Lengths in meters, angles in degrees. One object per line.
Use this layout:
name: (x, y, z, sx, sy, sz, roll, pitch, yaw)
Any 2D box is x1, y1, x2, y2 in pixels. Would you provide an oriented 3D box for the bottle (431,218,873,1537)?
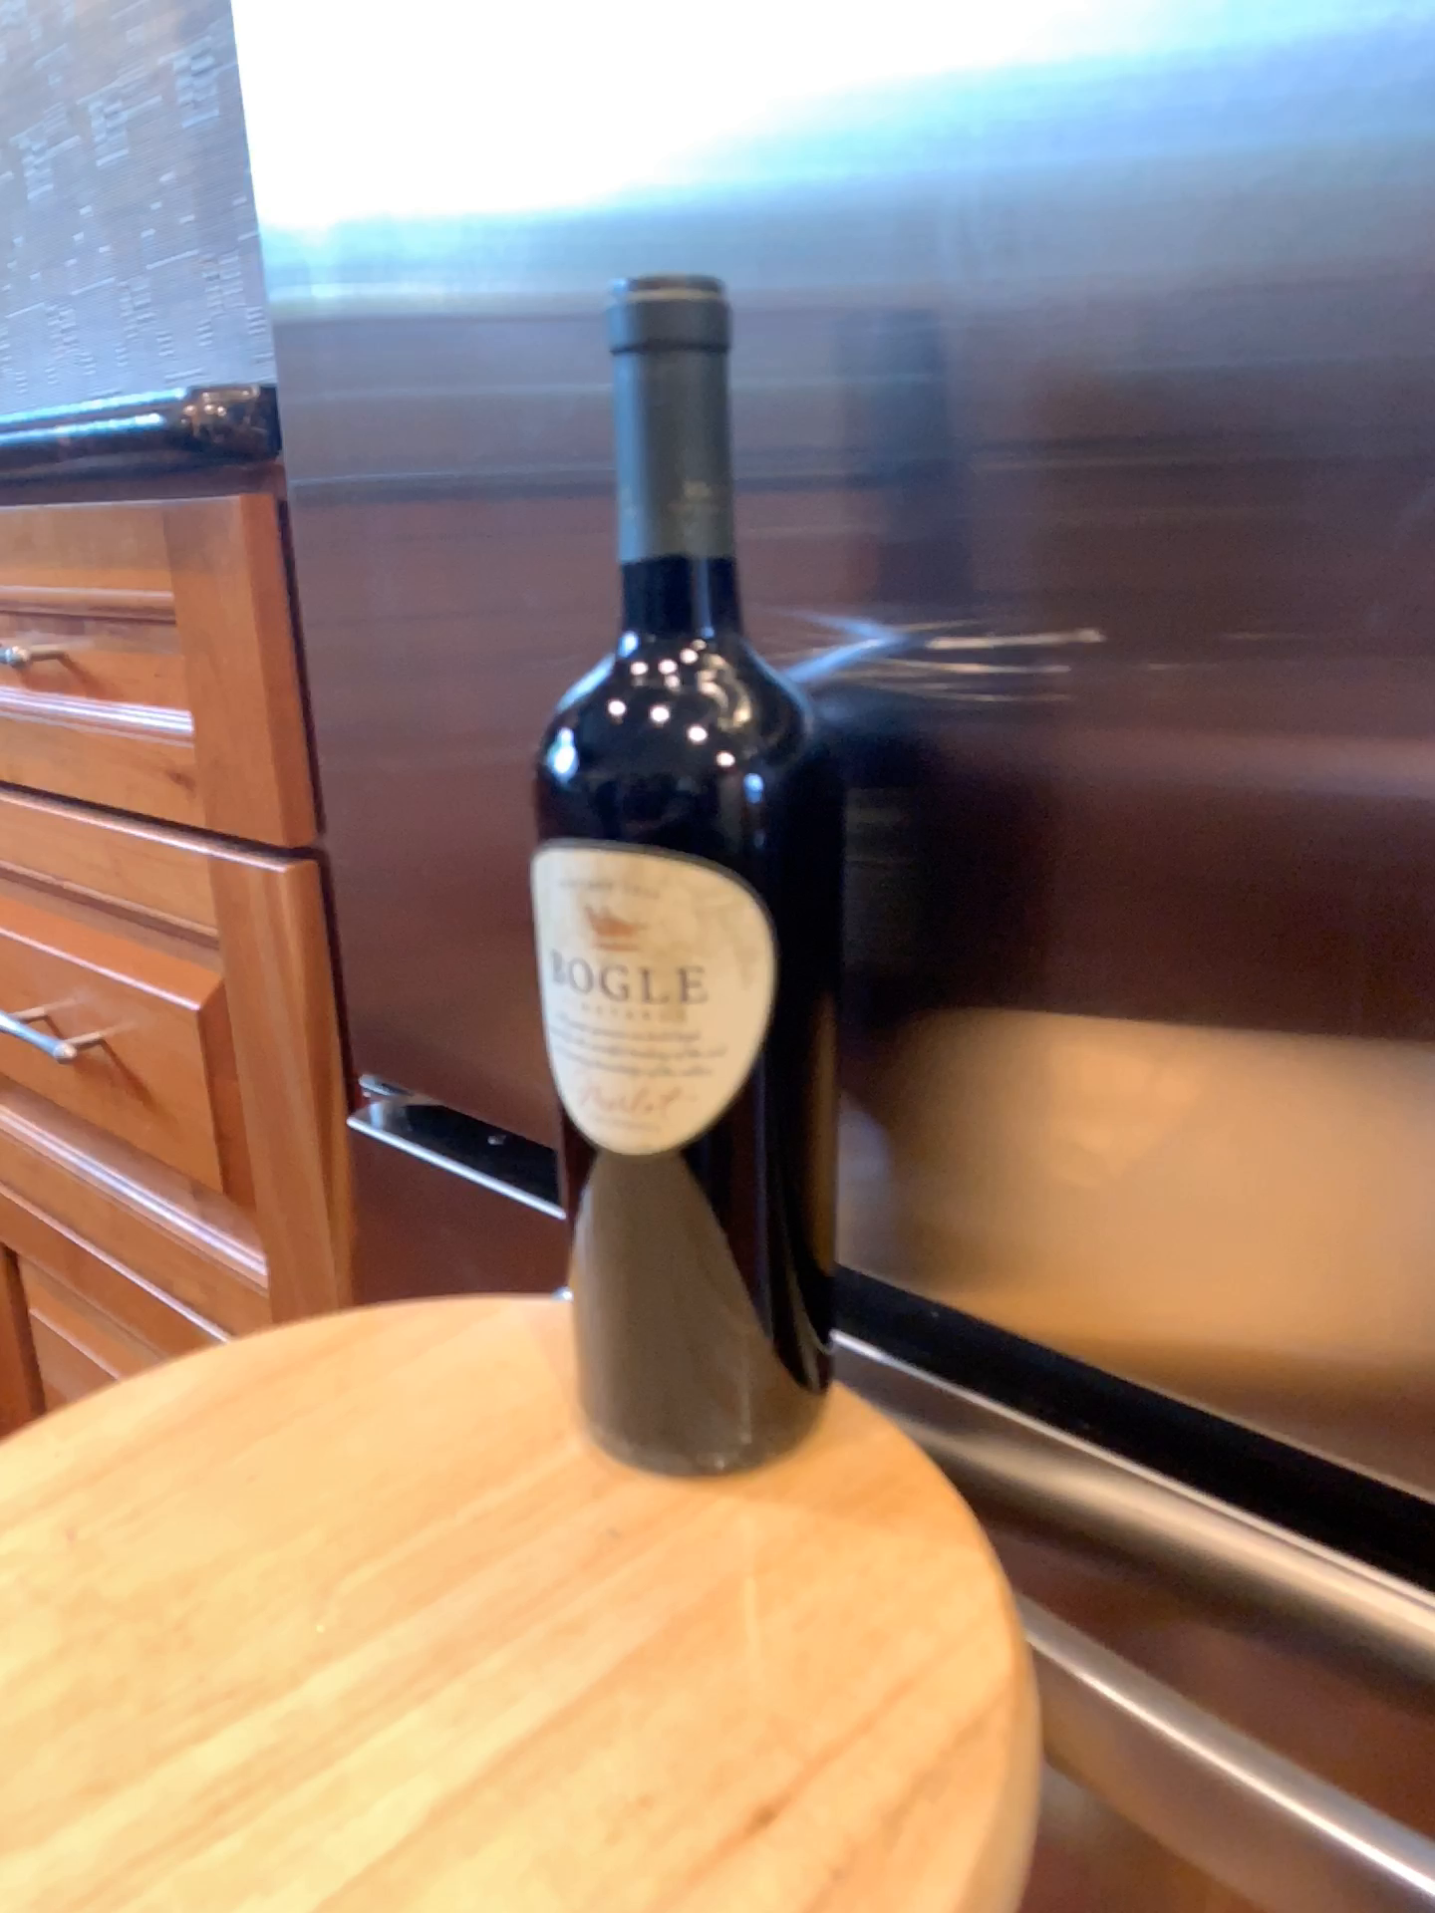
bottle: (-0.008, -0.013, 0.392, 0.080, 0.319, 0.080, -2, 16, 0)
